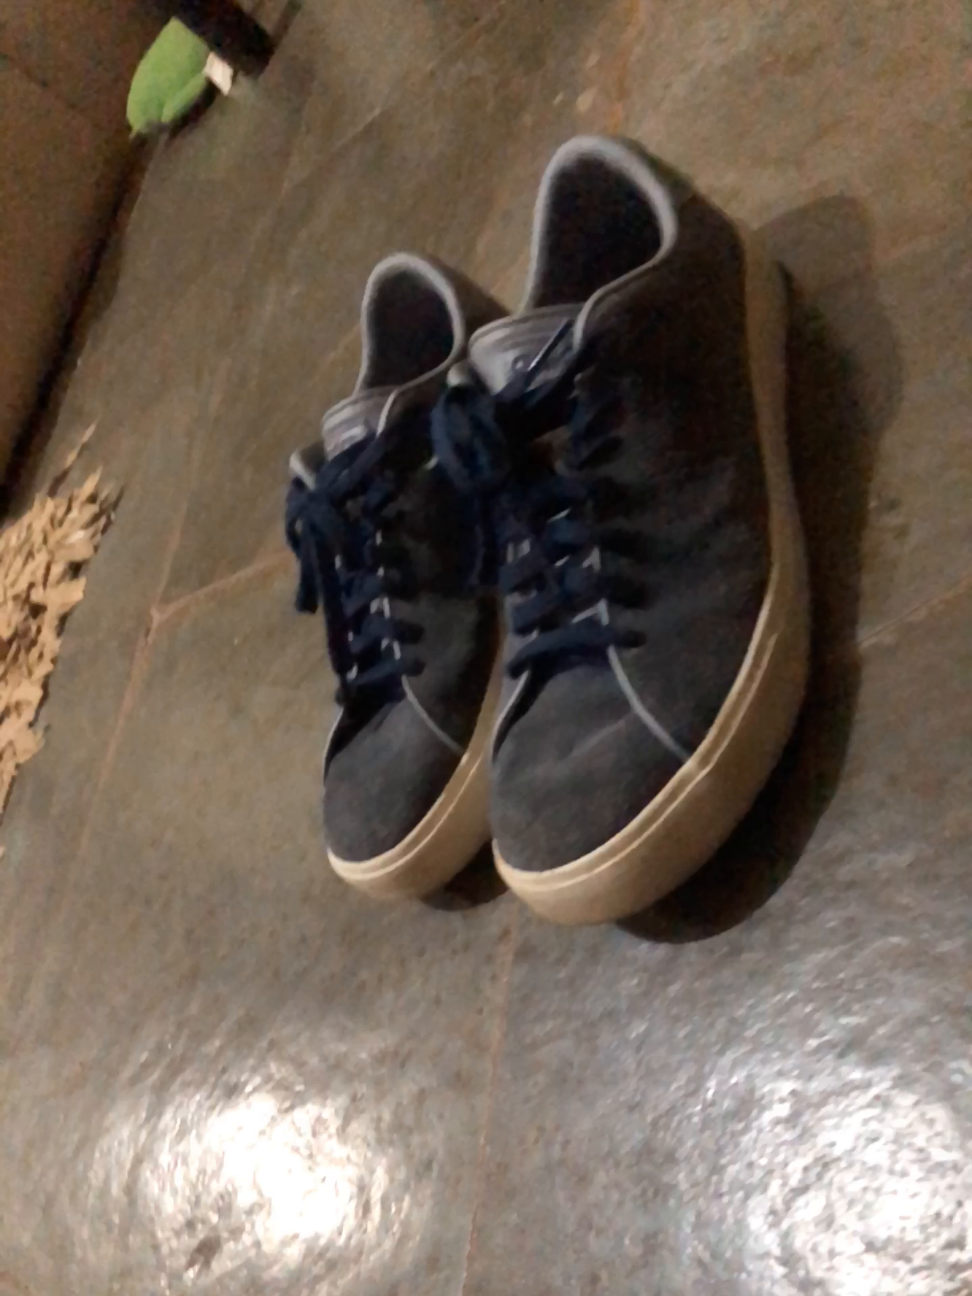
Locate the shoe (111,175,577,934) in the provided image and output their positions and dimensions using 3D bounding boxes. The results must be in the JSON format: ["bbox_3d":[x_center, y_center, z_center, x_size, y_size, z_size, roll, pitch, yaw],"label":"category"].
[{"bbox_3d":[-0.047,-0.035,0.420,0.110,0.080,0.271,-17,55,44],"label":"shoe"}]

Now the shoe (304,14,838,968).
[{"bbox_3d":[0.037,-0.050,0.348,0.110,0.080,0.281,-14,57,45],"label":"shoe"}]
